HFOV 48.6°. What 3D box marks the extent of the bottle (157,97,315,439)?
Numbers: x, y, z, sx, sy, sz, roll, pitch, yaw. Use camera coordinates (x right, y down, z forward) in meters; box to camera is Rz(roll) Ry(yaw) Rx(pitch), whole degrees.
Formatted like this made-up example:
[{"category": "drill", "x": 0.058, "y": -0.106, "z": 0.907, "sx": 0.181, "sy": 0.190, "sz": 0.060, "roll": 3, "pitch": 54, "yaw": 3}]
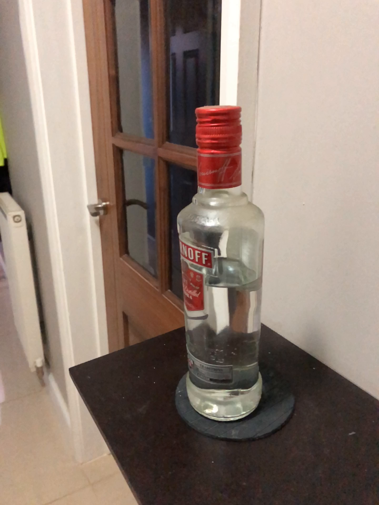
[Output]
[{"category": "bottle", "x": 0.026, "y": 0.009, "z": 0.293, "sx": 0.070, "sy": 0.219, "sz": 0.070, "roll": -1, "pitch": 20, "yaw": 0}]
